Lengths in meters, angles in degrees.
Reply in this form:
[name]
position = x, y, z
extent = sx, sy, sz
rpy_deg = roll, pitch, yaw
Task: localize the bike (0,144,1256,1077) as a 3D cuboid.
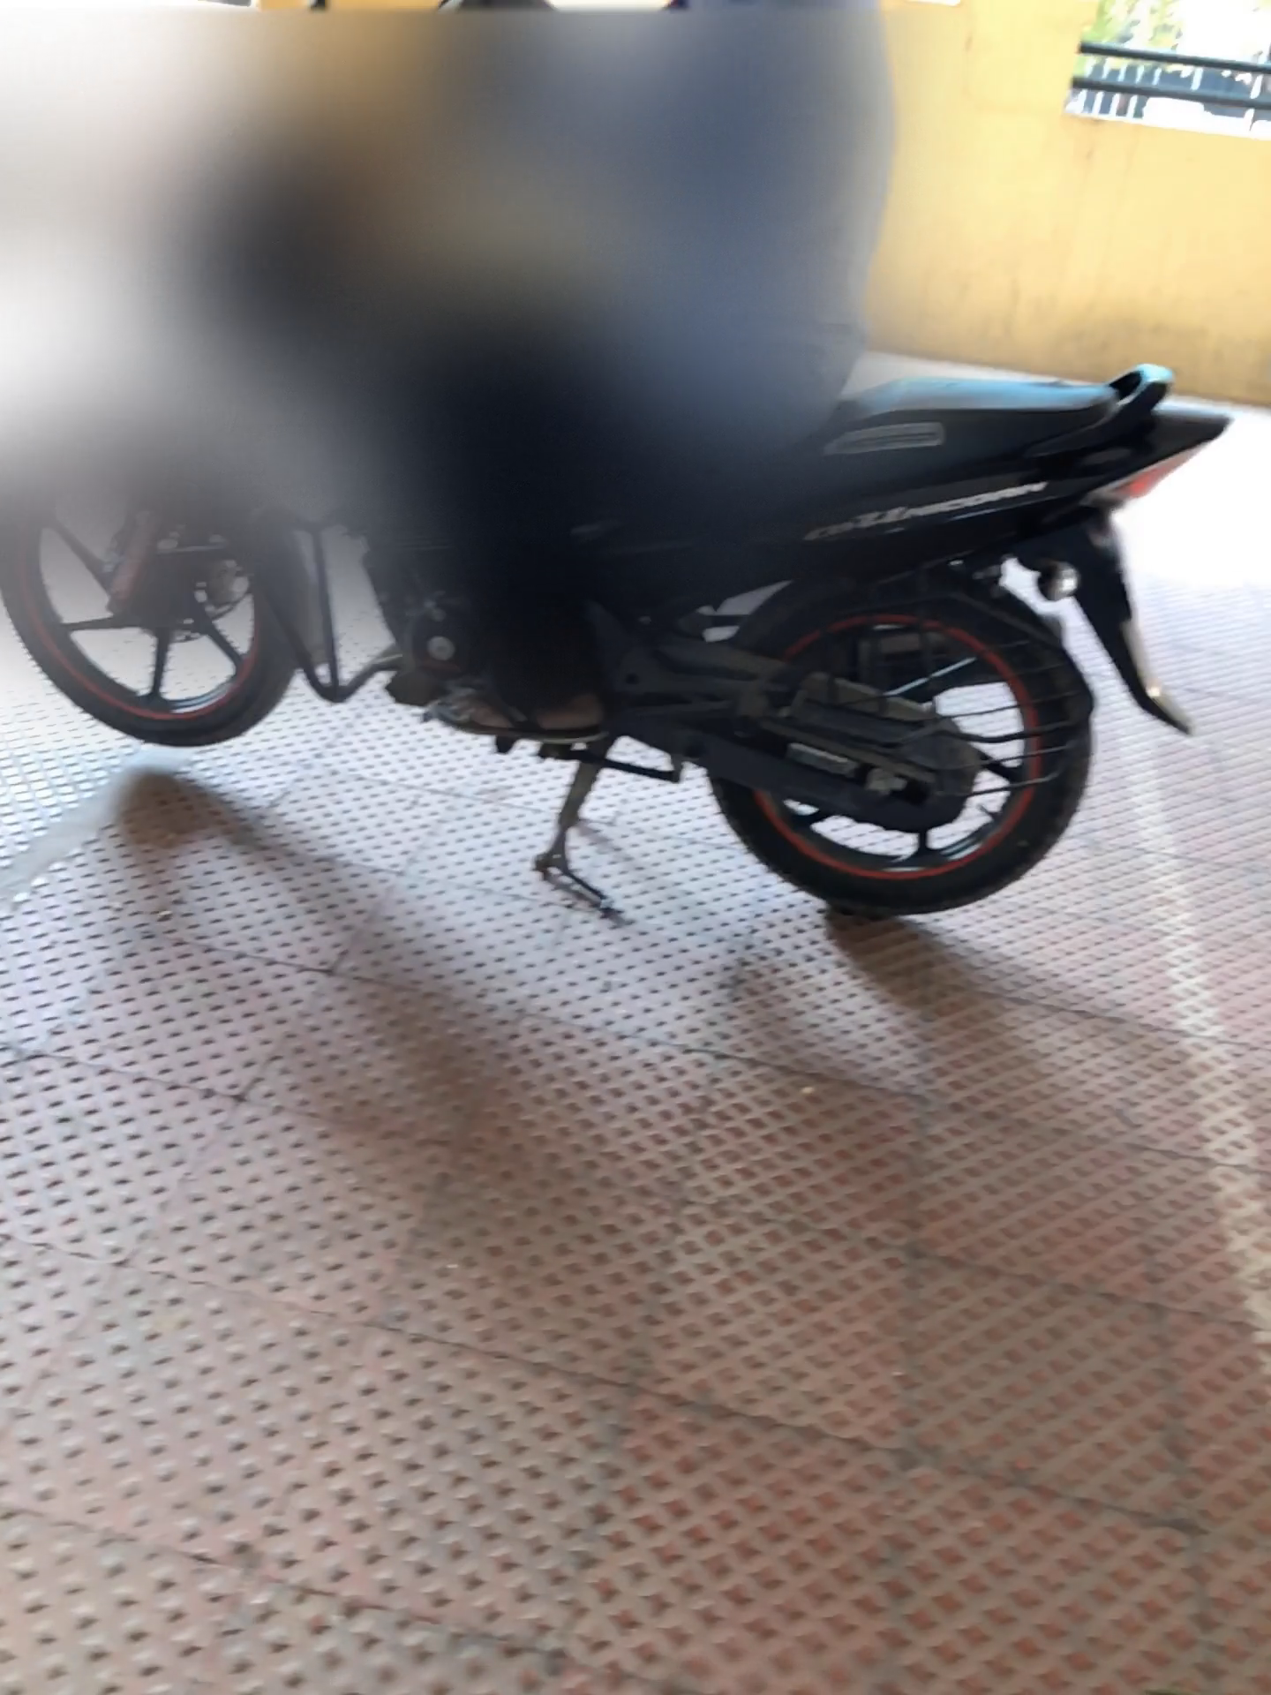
[bike]
position = -0.189, -0.473, 2.281
extent = 1.882, 1.009, 0.791
rpy_deg = 12, 30, 11
